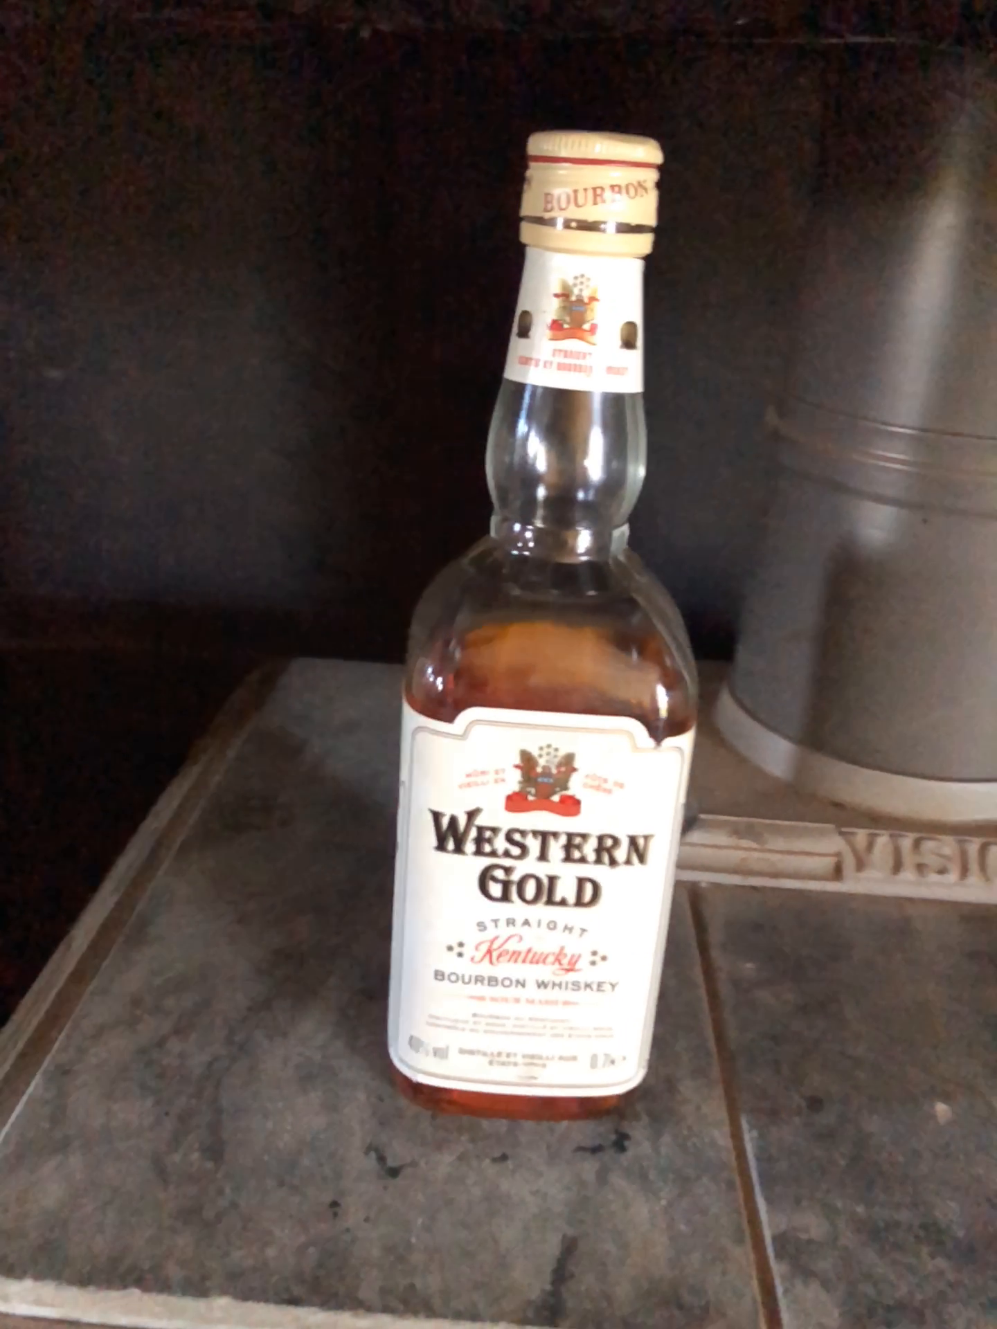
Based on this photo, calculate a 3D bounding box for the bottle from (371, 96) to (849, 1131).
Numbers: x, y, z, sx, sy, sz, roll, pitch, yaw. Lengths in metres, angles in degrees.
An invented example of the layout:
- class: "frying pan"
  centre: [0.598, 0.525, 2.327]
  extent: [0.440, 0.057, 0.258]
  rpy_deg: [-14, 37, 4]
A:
- class: "bottle"
  centre: [0.017, -0.005, 0.293]
  extent: [0.090, 0.249, 0.080]
  rpy_deg: [3, 22, 0]
